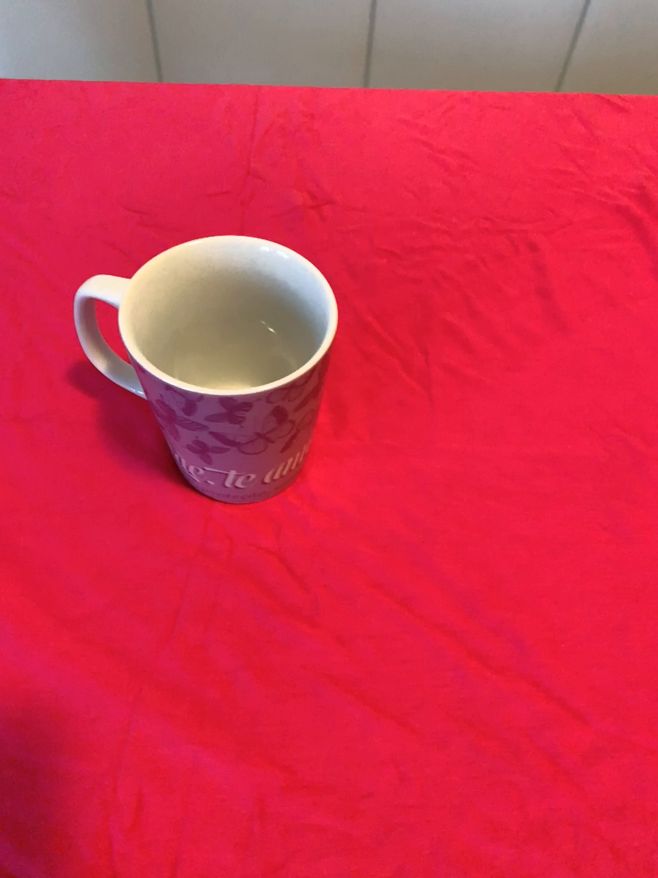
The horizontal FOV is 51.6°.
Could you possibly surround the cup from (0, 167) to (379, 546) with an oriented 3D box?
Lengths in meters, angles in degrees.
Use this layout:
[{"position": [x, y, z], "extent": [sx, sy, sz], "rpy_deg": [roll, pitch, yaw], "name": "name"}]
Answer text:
[{"position": [-0.051, -0.031, 0.283], "extent": [0.110, 0.100, 0.080], "rpy_deg": [21, 57, 9], "name": "cup"}]
